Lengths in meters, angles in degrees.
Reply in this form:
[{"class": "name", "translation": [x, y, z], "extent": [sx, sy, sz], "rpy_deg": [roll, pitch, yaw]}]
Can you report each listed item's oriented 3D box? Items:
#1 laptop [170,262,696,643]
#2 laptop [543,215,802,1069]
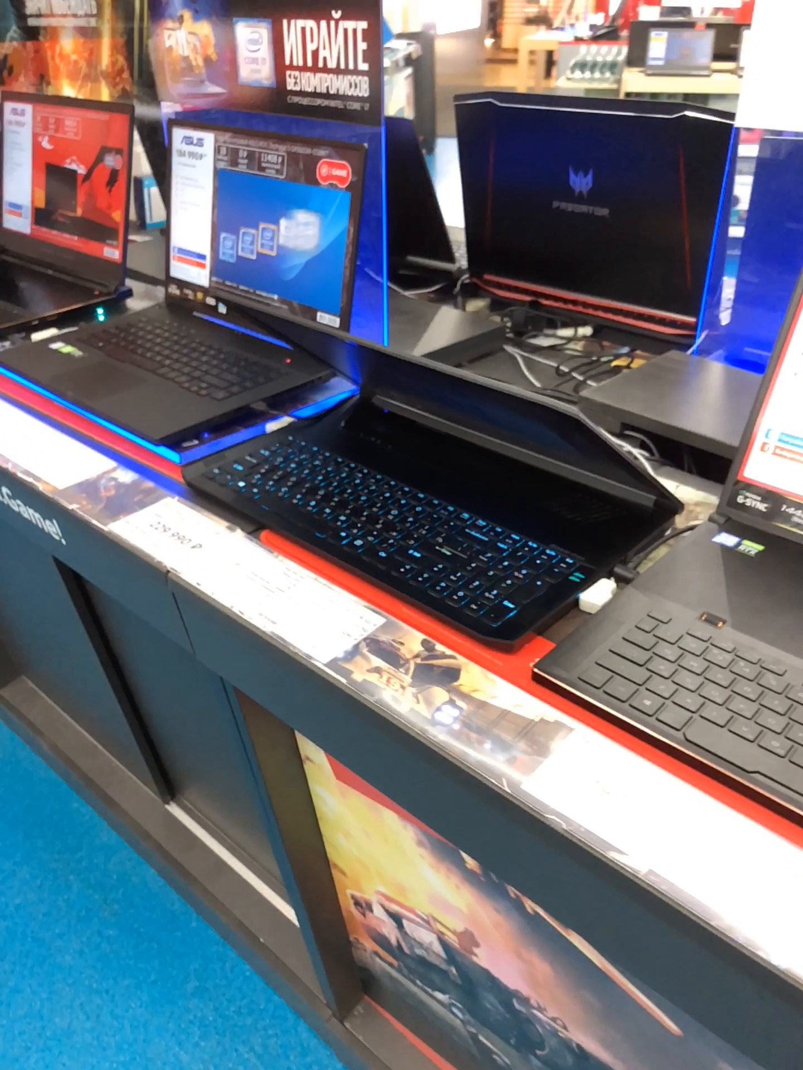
[{"class": "laptop", "translation": [0.014, -0.101, 0.757], "extent": [0.371, 0.152, 0.226], "rpy_deg": [25, 40, 36]}, {"class": "laptop", "translation": [0.350, -0.013, 0.529], "extent": [0.372, 0.235, 0.364], "rpy_deg": [25, 40, 36]}]
